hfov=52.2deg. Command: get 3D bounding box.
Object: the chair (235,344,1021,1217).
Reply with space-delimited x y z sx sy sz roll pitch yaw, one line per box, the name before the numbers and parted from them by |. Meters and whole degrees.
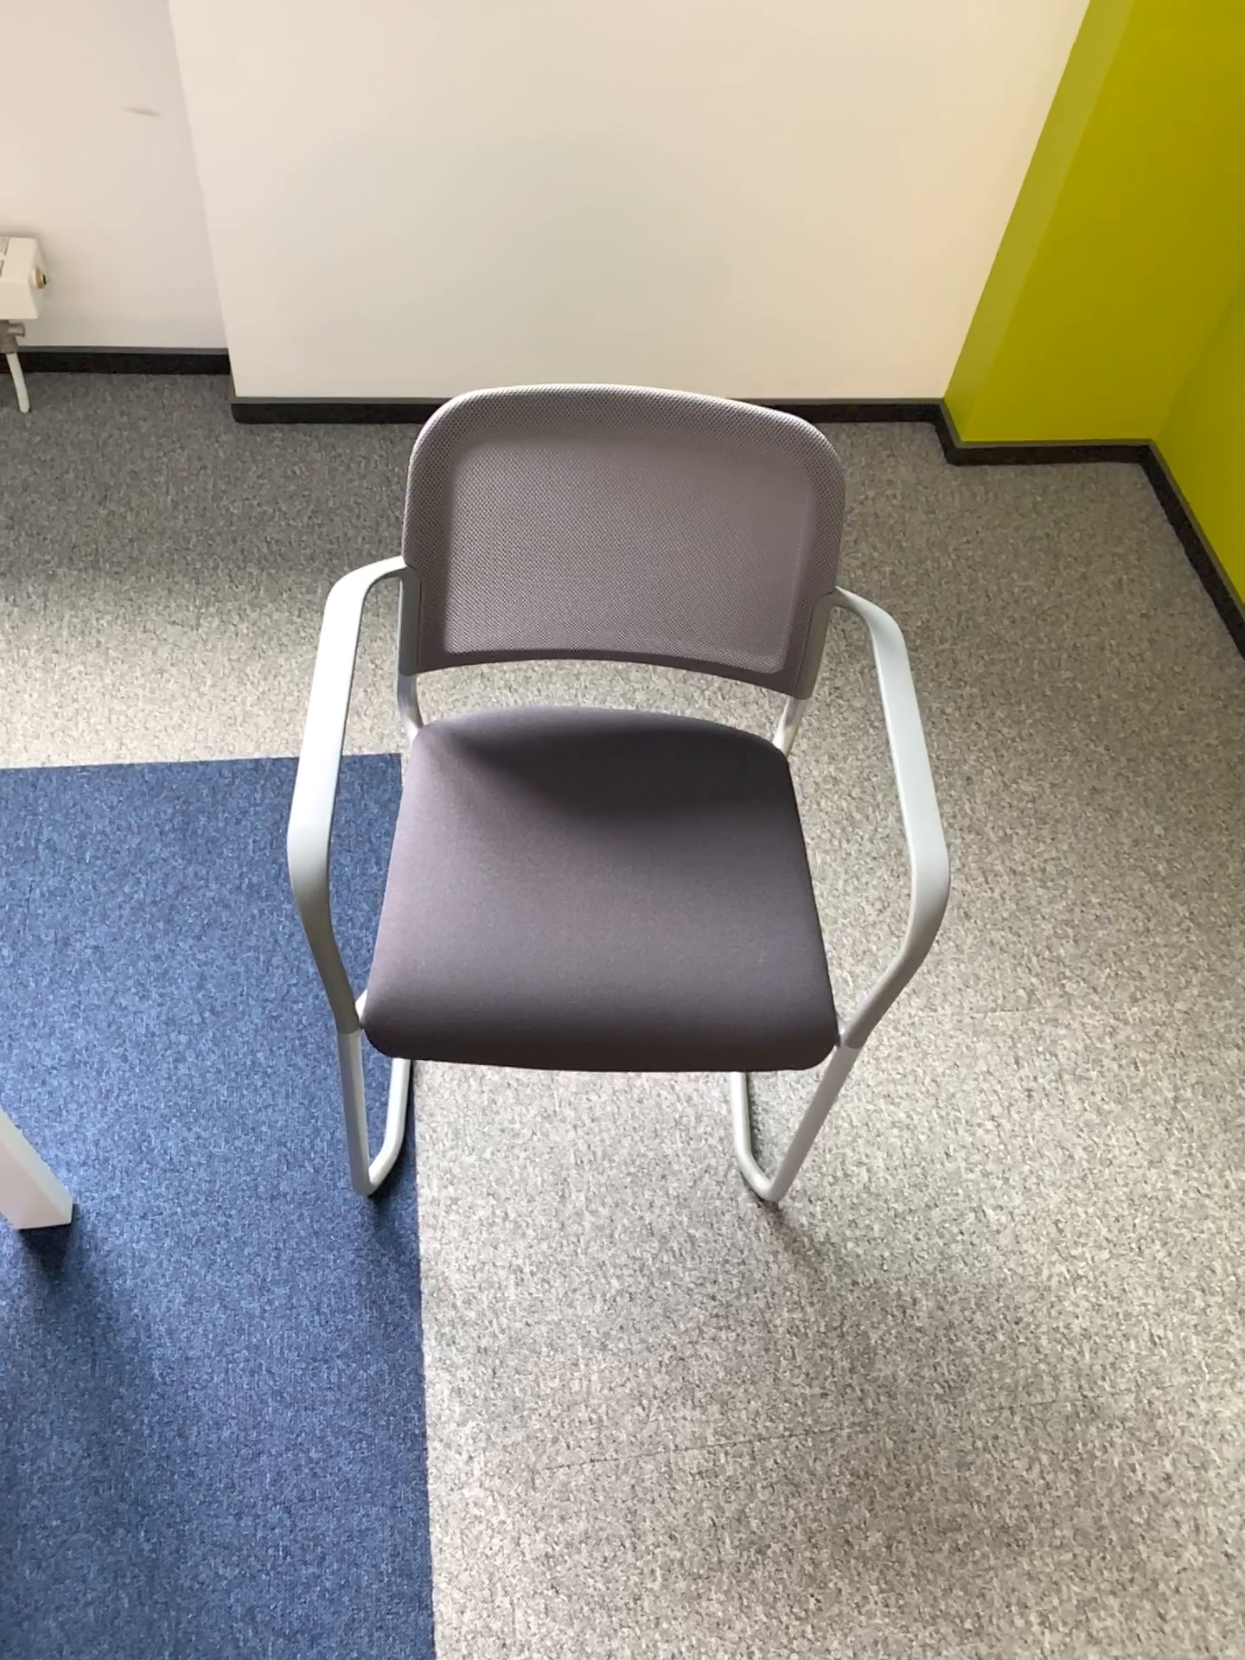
chair | -0.026 0.007 1.299 0.530 0.727 0.522 4 55 -5
